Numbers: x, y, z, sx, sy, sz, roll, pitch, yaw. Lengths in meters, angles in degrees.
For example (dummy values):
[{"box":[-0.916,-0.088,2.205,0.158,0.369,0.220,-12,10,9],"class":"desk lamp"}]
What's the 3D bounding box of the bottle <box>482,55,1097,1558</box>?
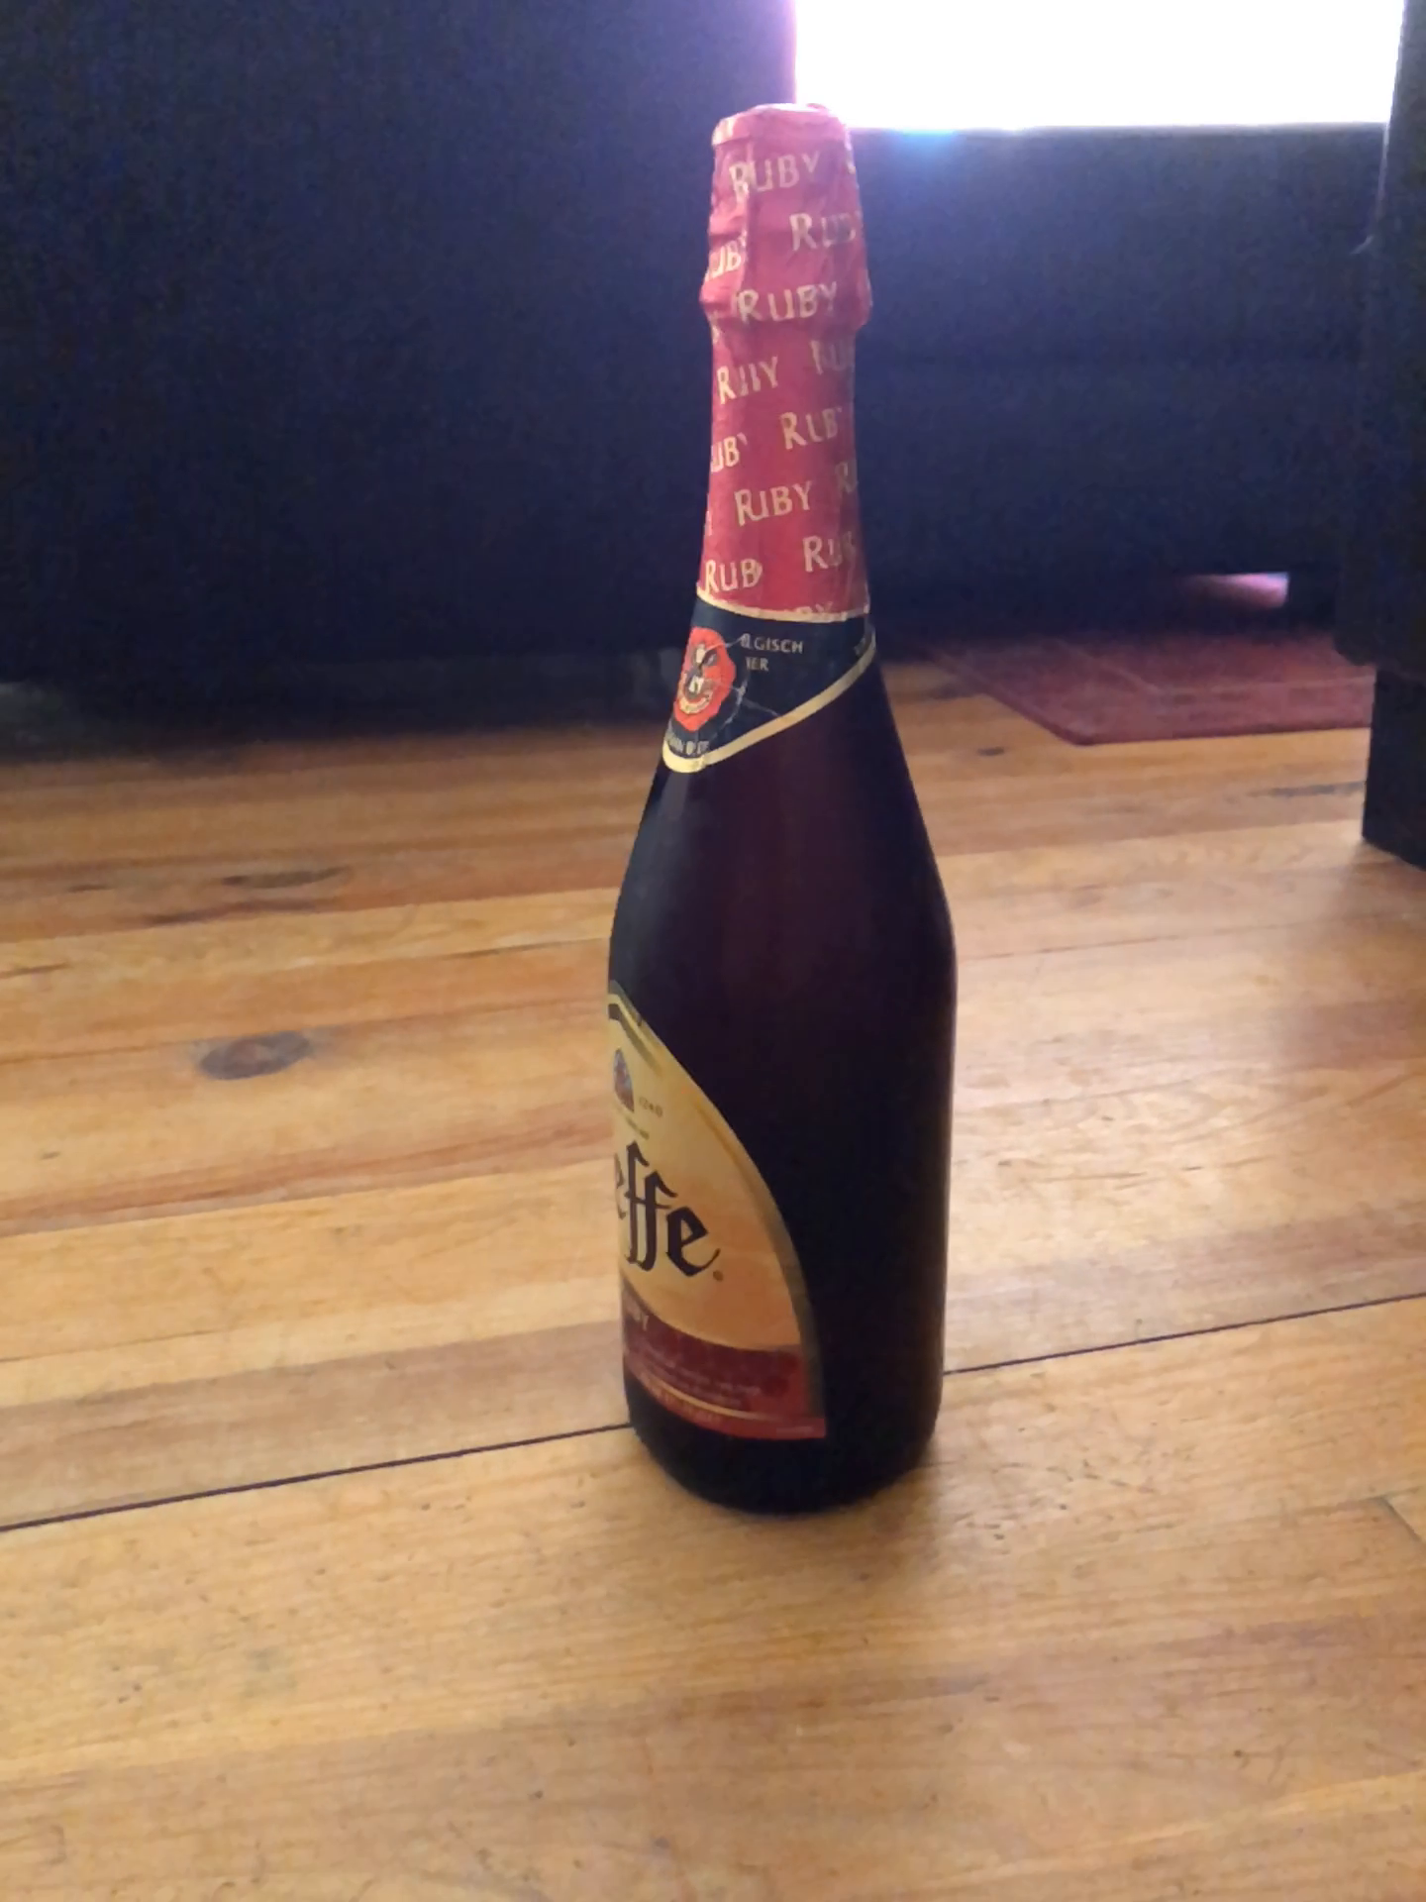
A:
[{"box":[0.012,-0.024,0.345,0.090,0.289,0.090,-1,21,0],"class":"bottle"}]
